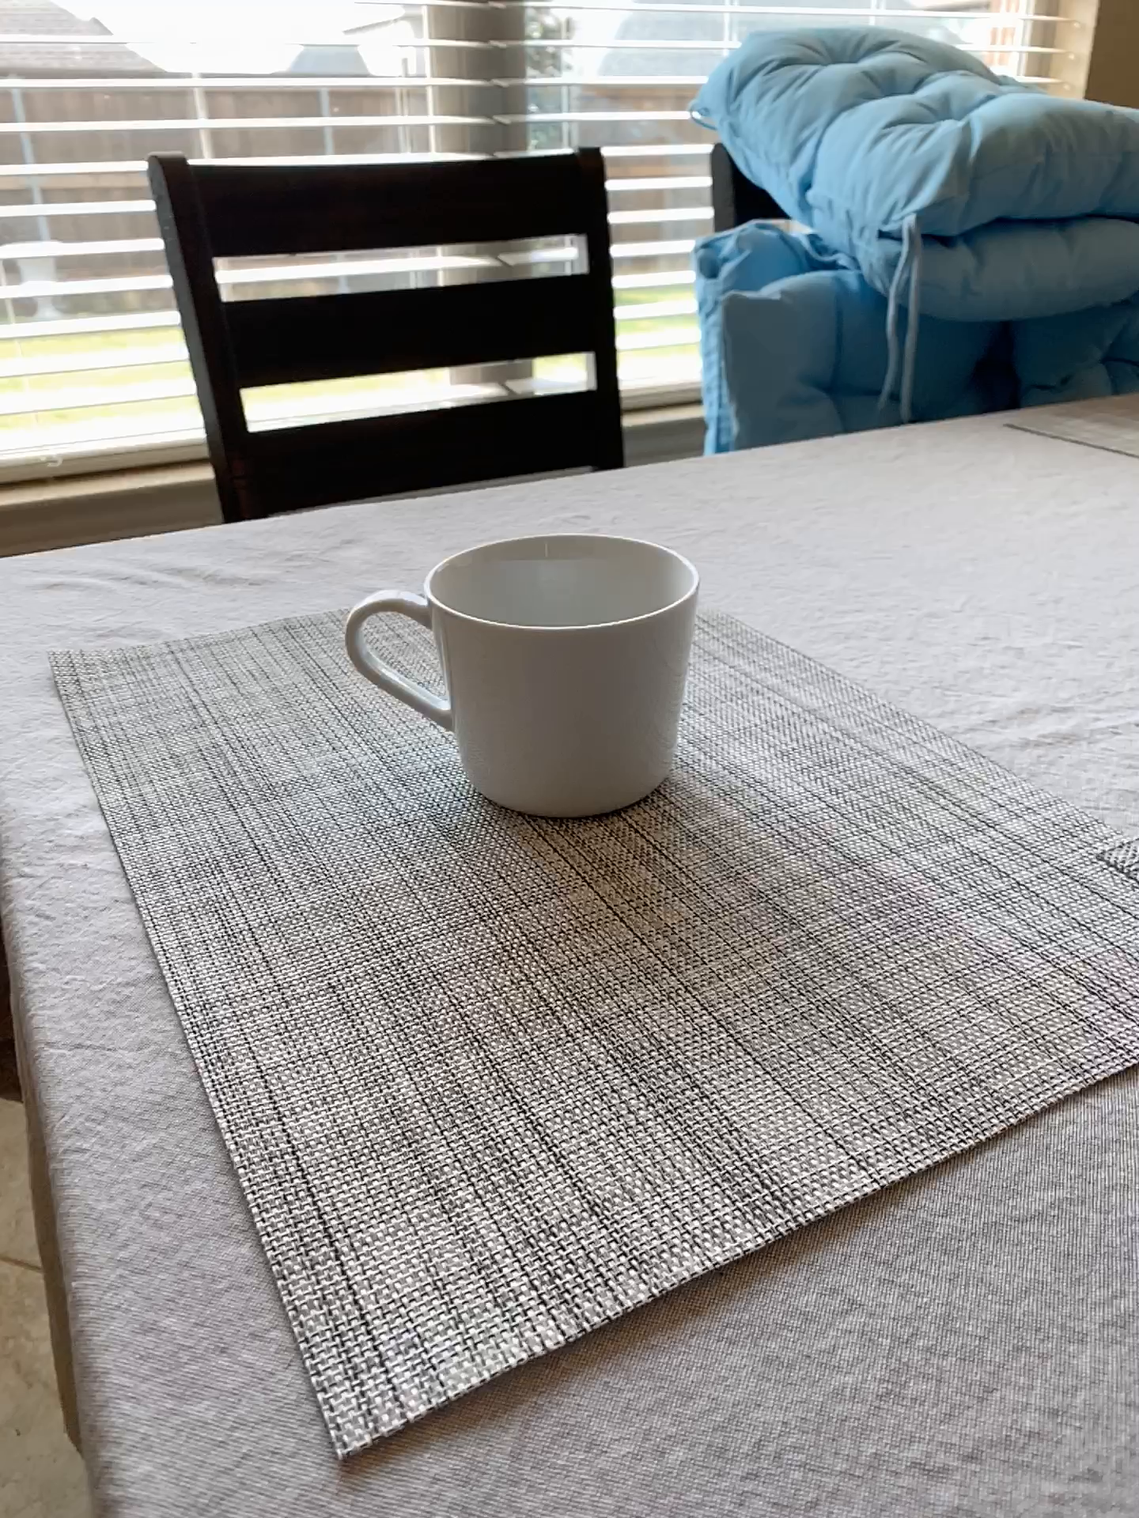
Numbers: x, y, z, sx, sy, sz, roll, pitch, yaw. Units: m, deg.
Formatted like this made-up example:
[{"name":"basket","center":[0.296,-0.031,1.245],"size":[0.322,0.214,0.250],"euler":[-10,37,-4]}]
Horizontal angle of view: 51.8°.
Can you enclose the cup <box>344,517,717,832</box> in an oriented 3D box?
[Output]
[{"name":"cup","center":[-0.014,-0.036,0.444],"size":[0.121,0.081,0.101],"euler":[-2,28,-2]}]
